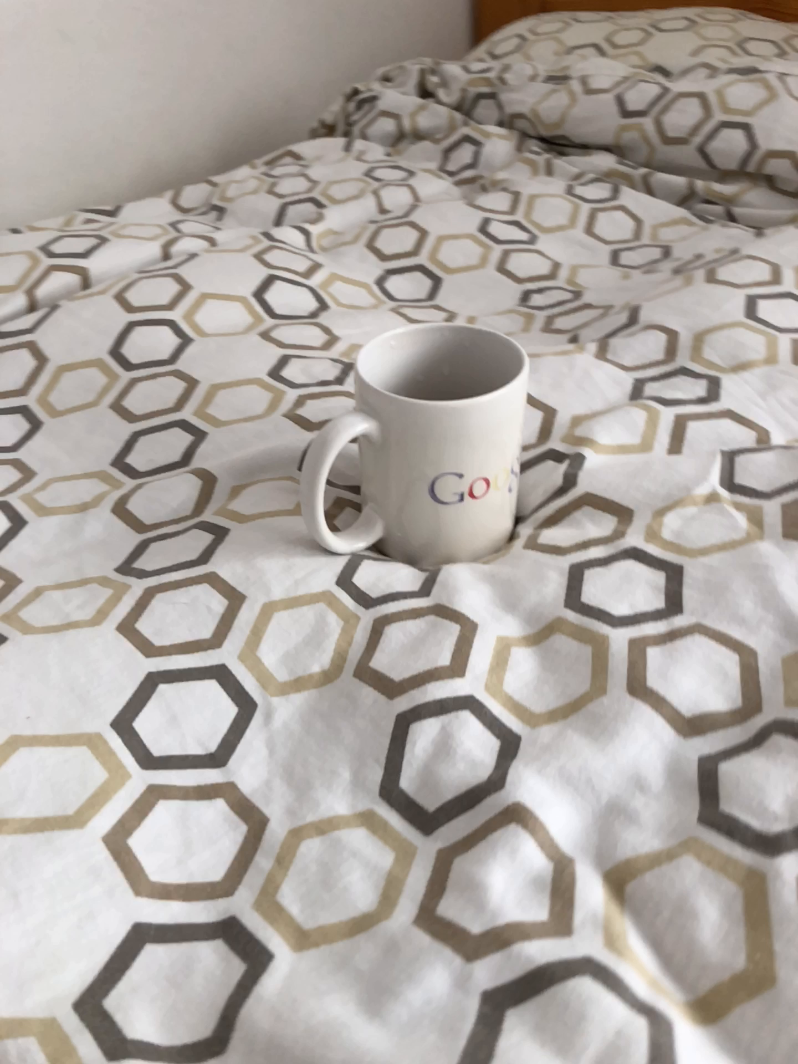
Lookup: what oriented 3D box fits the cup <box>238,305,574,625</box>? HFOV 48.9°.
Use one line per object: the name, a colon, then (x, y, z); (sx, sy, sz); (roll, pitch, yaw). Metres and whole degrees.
cup: (0.005, -0.037, 0.424); (0.126, 0.087, 0.087); (-25, 43, -24)
